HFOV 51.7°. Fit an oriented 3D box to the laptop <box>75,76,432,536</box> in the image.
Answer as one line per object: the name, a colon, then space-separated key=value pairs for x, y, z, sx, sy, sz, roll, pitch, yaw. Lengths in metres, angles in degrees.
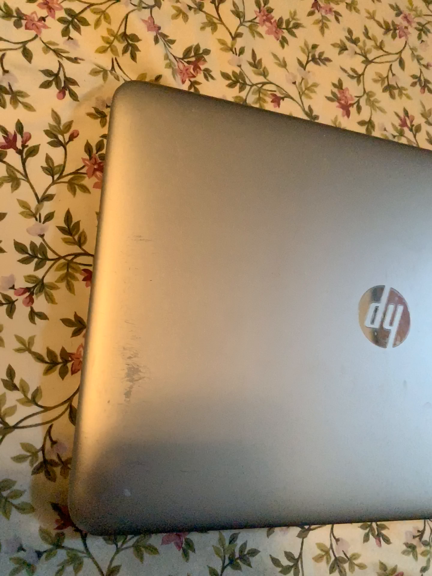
laptop: x=0.103 y=0.015 z=0.272 sx=0.337 sy=0.010 sz=0.228 roll=6 pitch=77 yaw=-17
